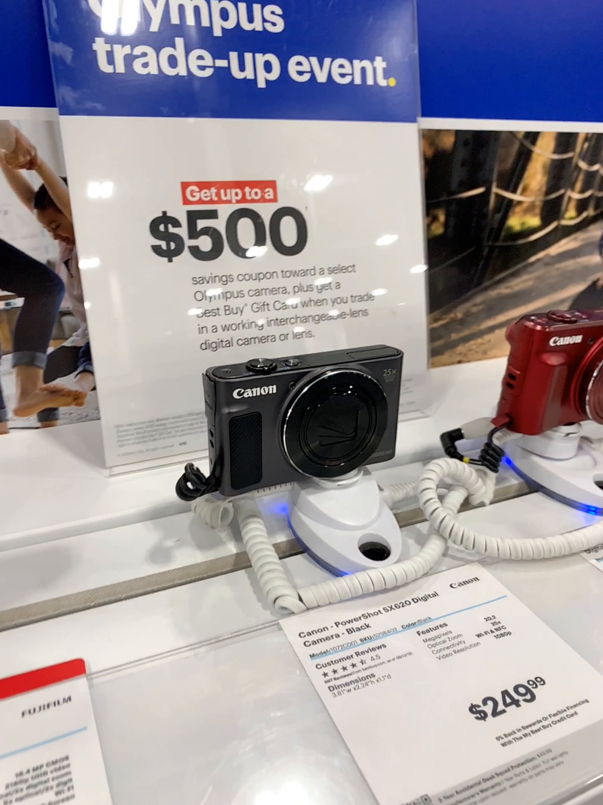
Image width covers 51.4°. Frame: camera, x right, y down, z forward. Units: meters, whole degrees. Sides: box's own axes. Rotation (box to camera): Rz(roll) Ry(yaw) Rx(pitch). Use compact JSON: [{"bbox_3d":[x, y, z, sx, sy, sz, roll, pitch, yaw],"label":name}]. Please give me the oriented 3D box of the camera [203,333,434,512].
[{"bbox_3d":[0.009,0.007,0.291,0.100,0.060,0.030,-10,25,-22],"label":"camera"}]
